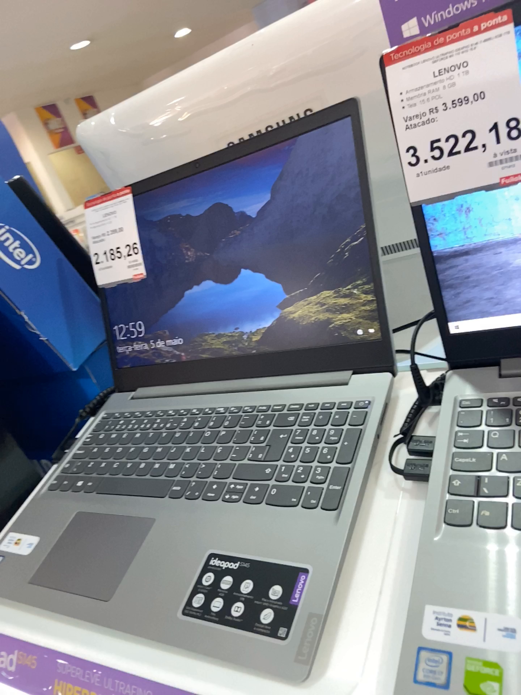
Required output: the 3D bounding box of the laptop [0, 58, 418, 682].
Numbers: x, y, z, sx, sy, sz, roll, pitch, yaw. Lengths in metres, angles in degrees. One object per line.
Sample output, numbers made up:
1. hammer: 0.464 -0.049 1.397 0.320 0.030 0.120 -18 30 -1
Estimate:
1. laptop: -0.094 -0.020 0.485 0.358 0.212 0.389 -7 34 34
